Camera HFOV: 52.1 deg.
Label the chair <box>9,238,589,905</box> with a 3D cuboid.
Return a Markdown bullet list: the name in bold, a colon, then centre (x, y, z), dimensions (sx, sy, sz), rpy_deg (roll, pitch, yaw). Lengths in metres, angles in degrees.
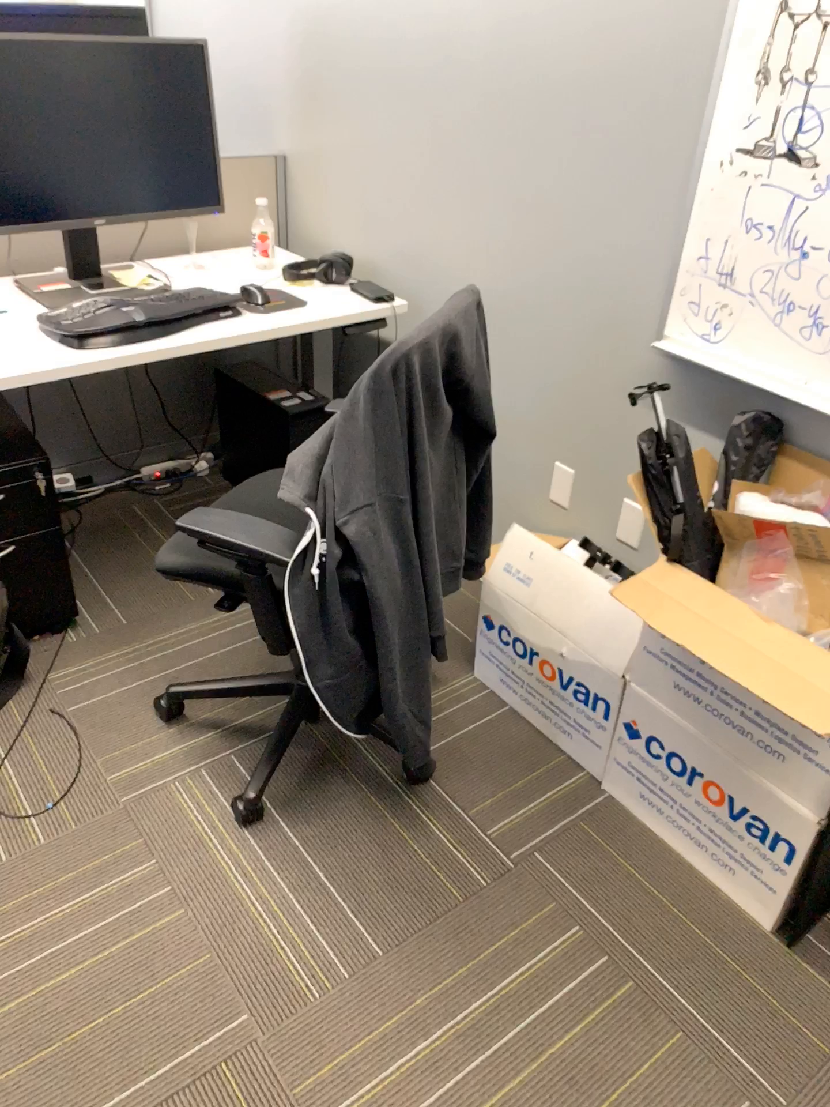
- **chair**: centre (-0.190, -0.024, 1.807), dimensions (0.732, 0.994, 0.773), rpy_deg (20, 36, 22)
